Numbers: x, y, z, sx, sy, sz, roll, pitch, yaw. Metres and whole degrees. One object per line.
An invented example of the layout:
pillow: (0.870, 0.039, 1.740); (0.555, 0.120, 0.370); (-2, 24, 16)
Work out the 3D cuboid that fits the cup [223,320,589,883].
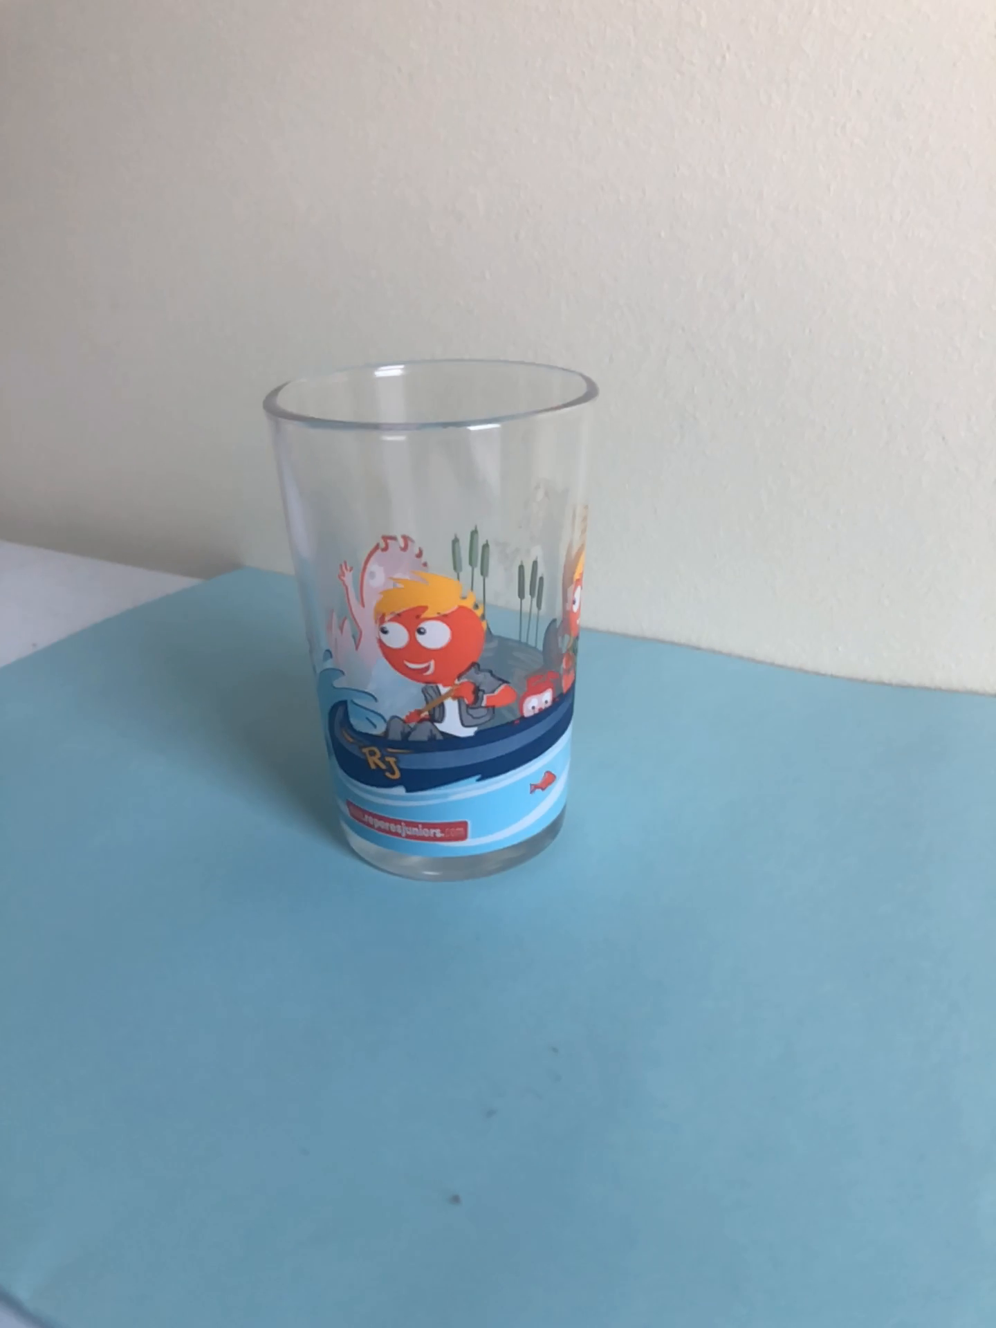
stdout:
cup: (-0.012, -0.014, 0.228); (0.060, 0.099, 0.060); (-2, 25, 1)
